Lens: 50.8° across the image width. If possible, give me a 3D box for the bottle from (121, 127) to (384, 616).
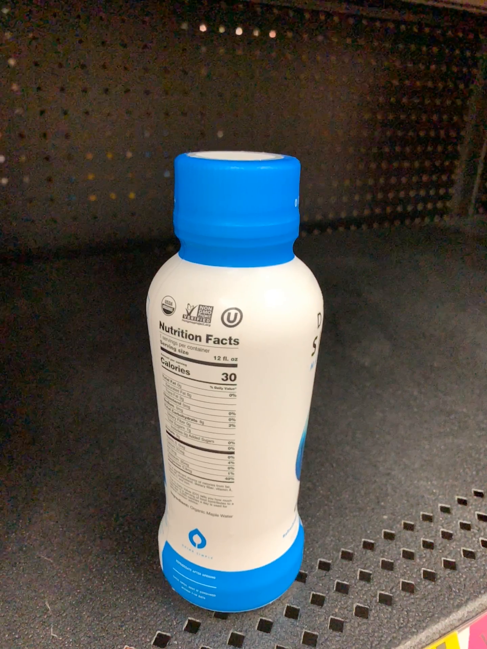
[{"bbox_3d":[-0.002,0.019,0.194,0.065,0.169,0.070,2,24,-1],"label":"bottle"}]
